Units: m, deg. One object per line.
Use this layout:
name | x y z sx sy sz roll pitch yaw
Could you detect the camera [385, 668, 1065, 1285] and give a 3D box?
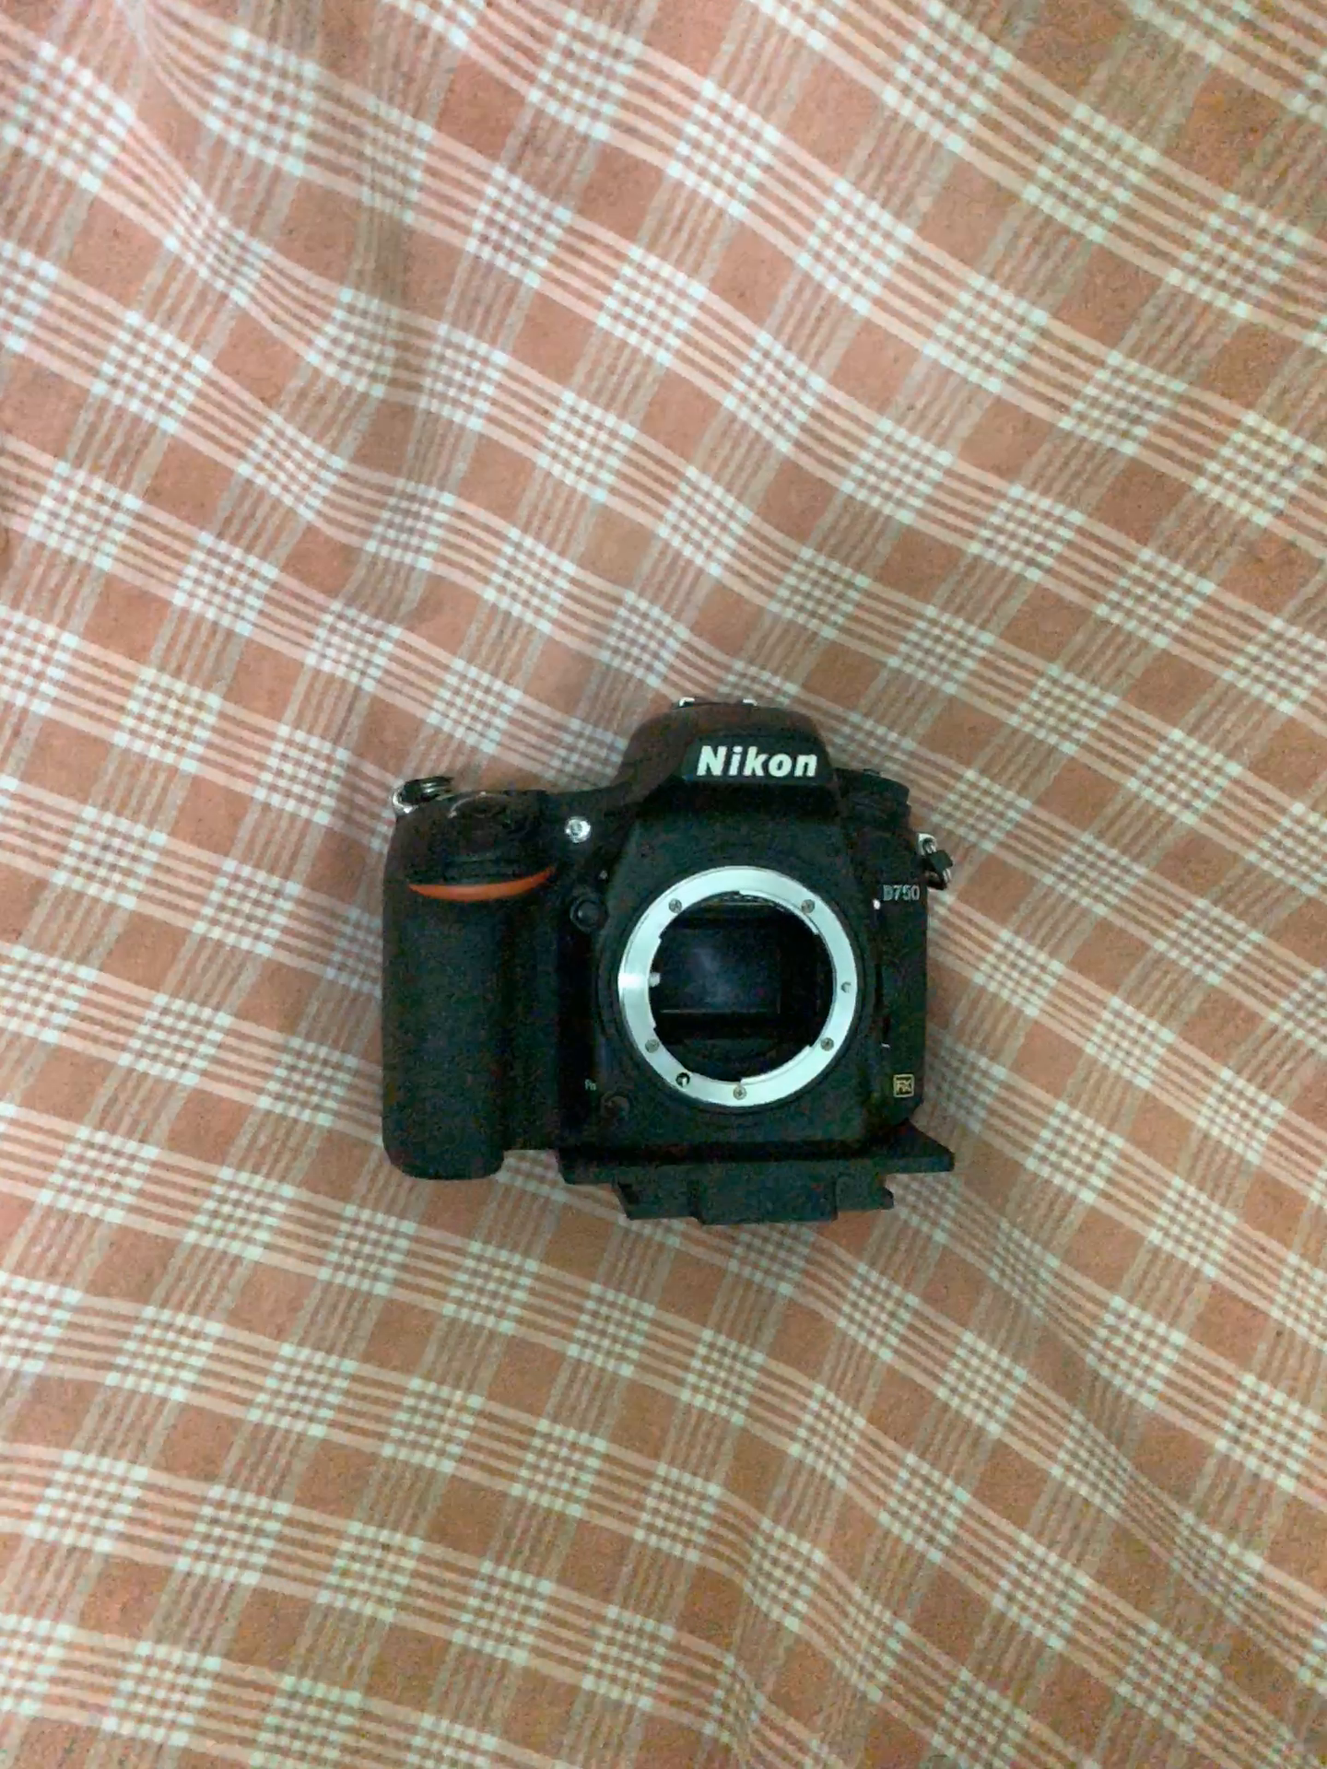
camera | 0.008 0.015 0.328 0.145 0.085 0.125 -1 95 -11
